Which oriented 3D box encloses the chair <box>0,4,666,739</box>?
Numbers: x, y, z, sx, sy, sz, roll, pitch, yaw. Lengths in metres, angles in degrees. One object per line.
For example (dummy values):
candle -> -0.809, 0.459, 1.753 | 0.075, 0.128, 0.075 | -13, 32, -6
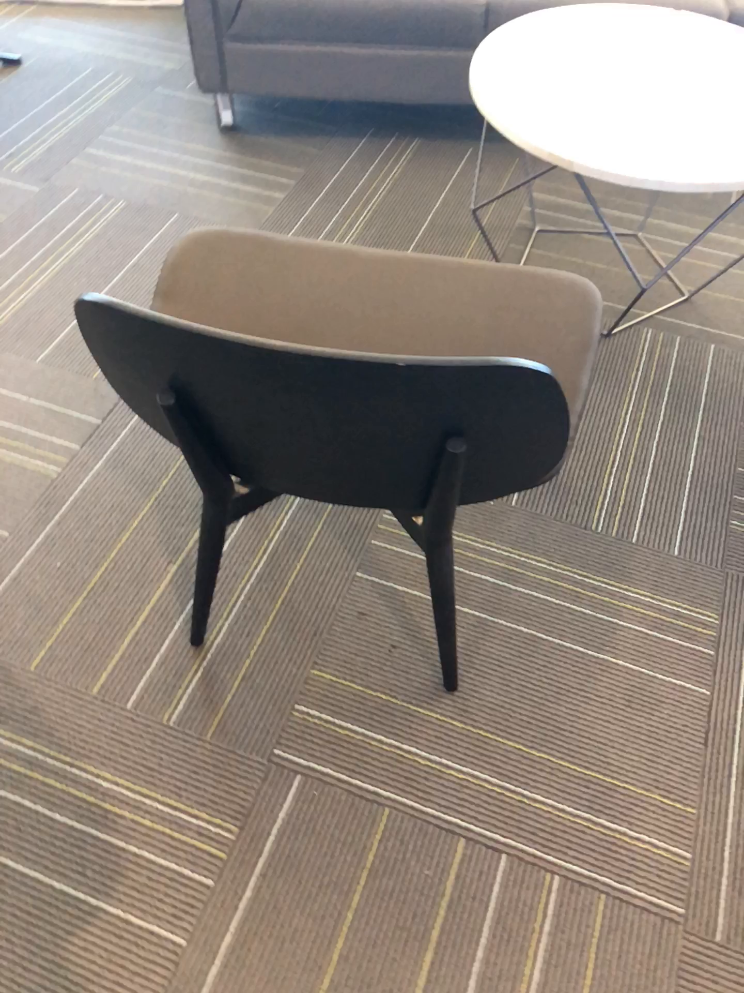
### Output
chair -> -0.026, -0.181, 1.260 | 0.670, 0.737, 0.743 | 8, 51, 5
